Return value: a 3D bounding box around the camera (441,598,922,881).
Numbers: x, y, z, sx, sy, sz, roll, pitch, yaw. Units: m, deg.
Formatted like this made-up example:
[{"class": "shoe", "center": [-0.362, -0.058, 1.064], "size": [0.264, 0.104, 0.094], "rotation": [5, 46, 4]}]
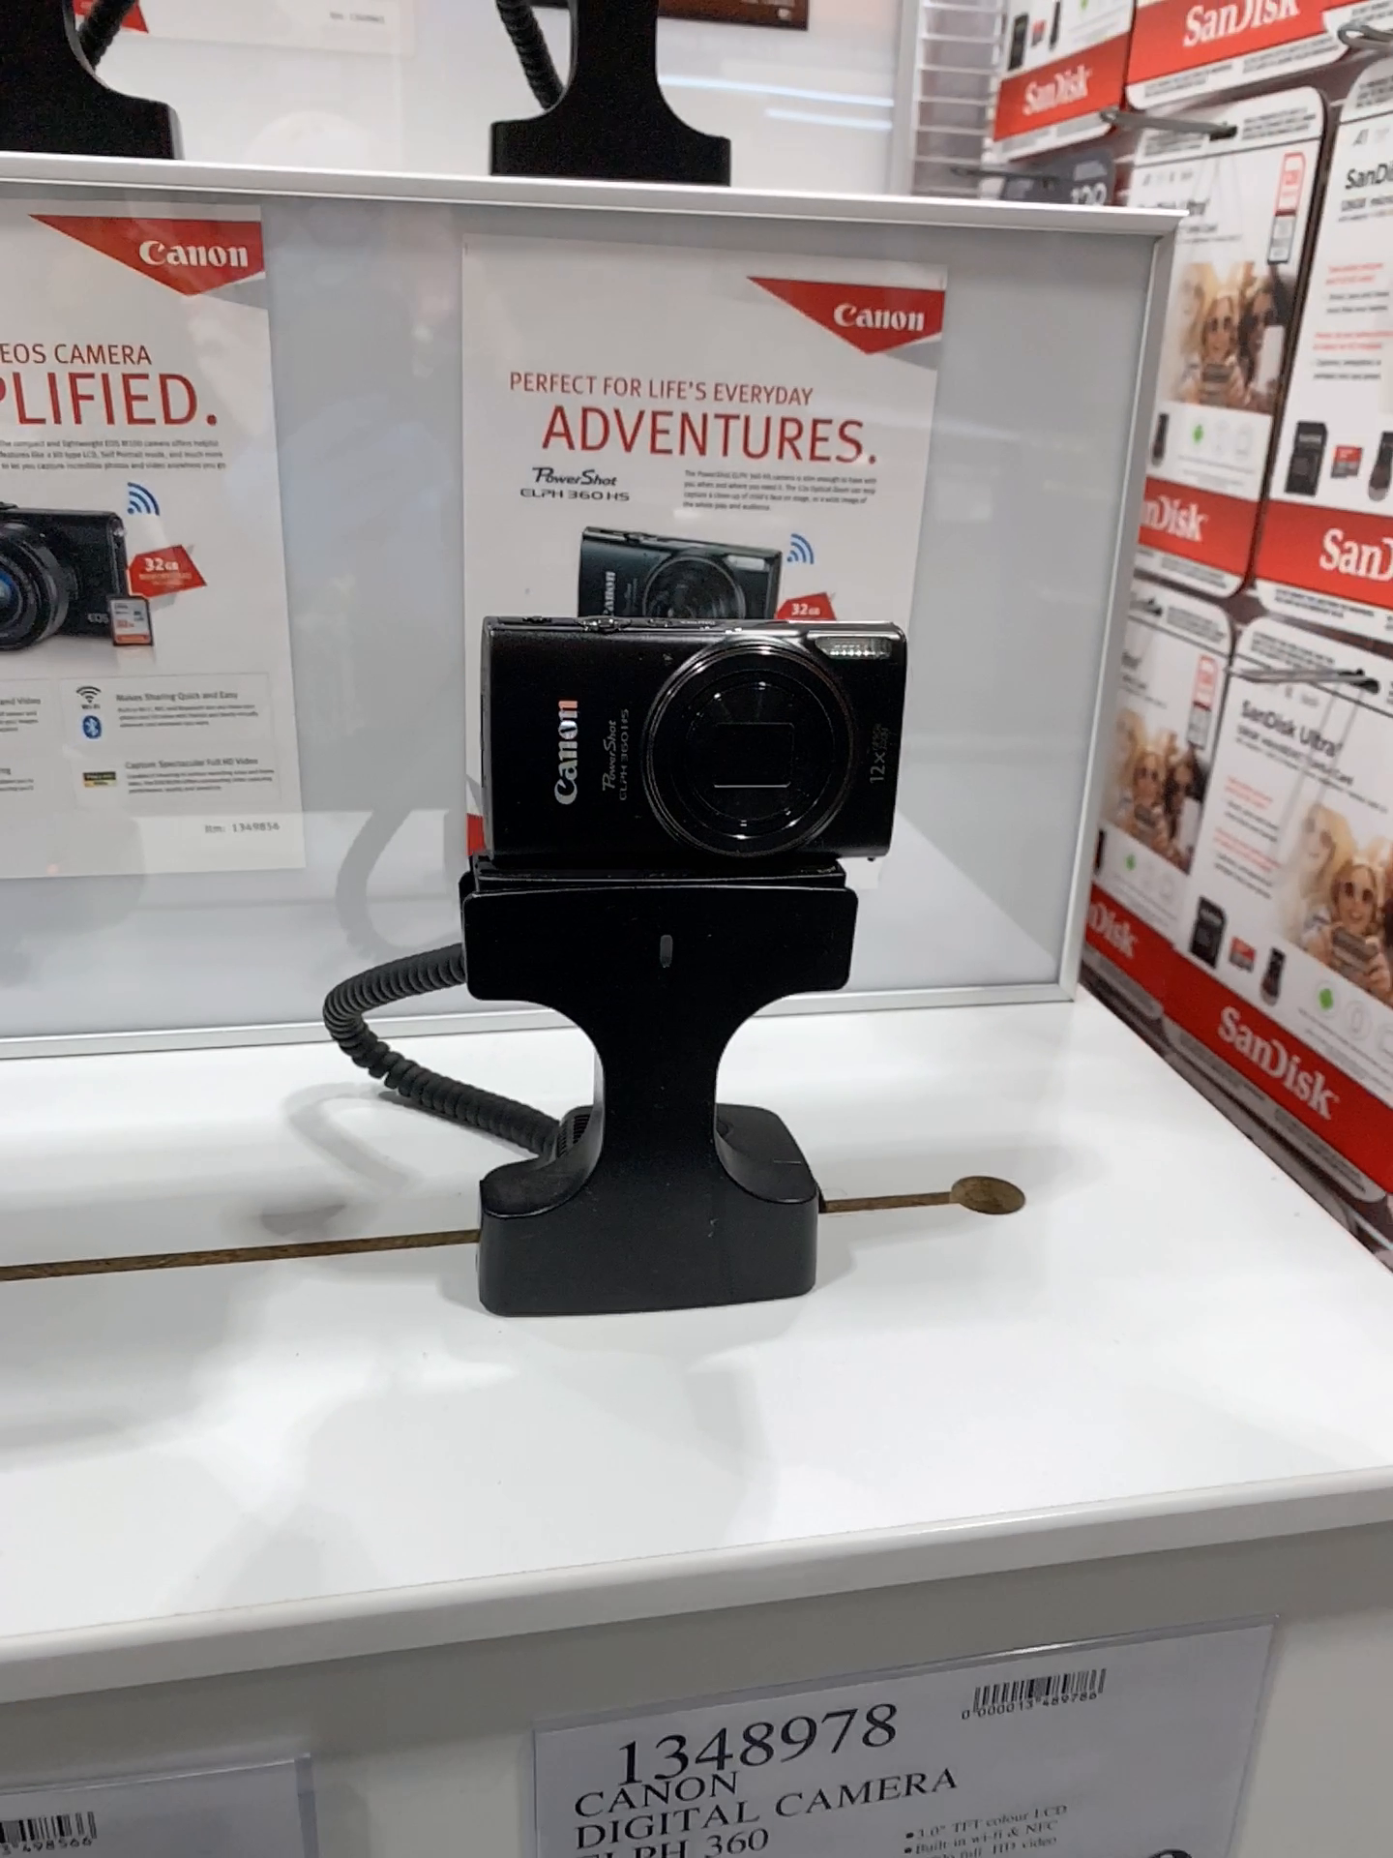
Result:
[{"class": "camera", "center": [-0.006, -0.048, 0.355], "size": [0.110, 0.060, 0.040], "rotation": [-1, 20, -9]}]
